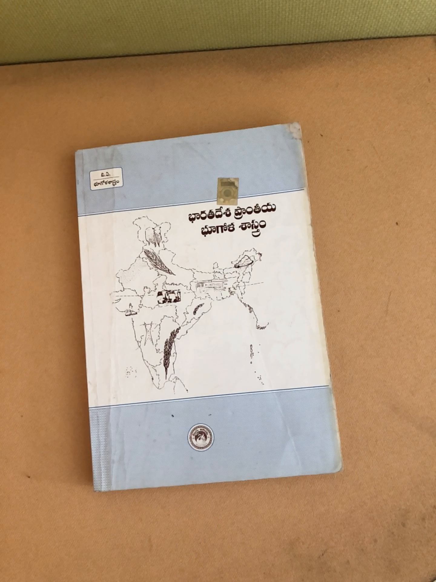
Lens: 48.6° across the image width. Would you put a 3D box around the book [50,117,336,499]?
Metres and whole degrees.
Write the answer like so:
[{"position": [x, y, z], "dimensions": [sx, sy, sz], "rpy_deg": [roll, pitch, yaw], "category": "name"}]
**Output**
[{"position": [-0.023, 0.009, 0.351], "dimensions": [0.180, 0.030, 0.250], "rpy_deg": [-6, 82, 4], "category": "book"}]
